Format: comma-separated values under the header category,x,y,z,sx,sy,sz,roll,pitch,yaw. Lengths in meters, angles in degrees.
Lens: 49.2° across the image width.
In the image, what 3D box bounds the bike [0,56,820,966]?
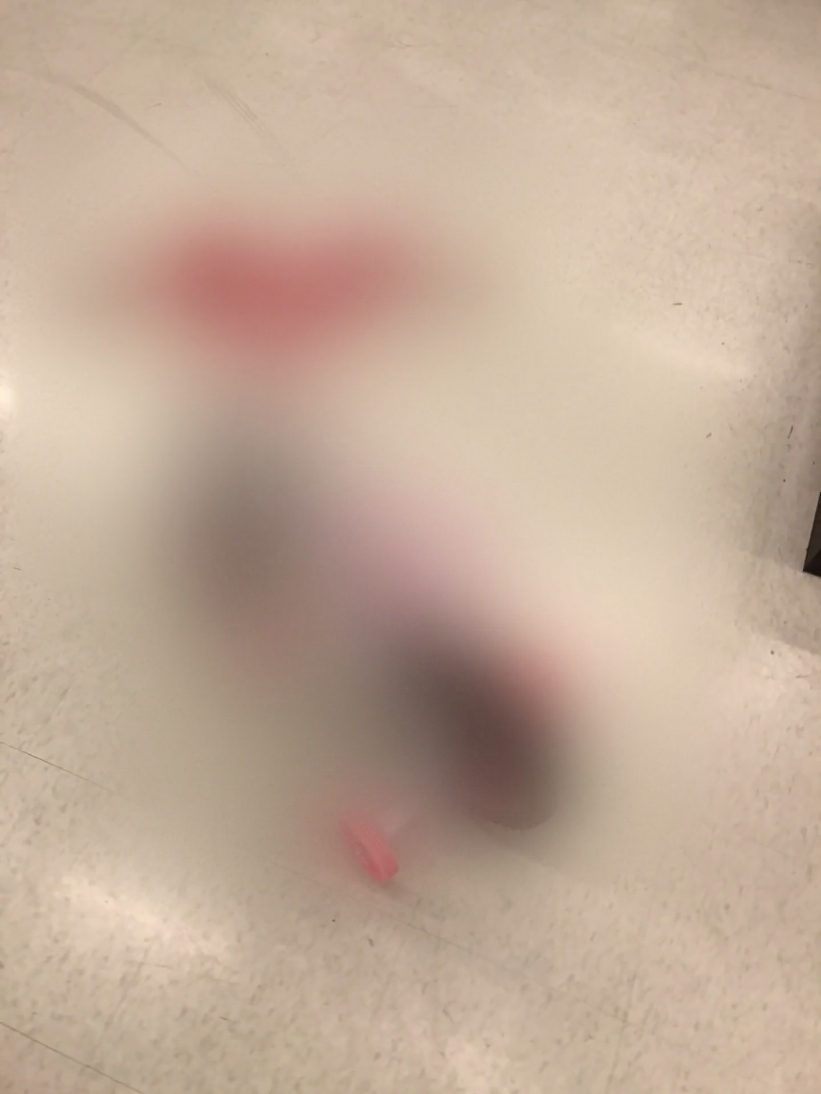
category,x,y,z,sx,sy,sz,roll,pitch,yaw
bike,-0.058,-0.032,1.130,0.511,0.681,0.775,-36,66,-25
